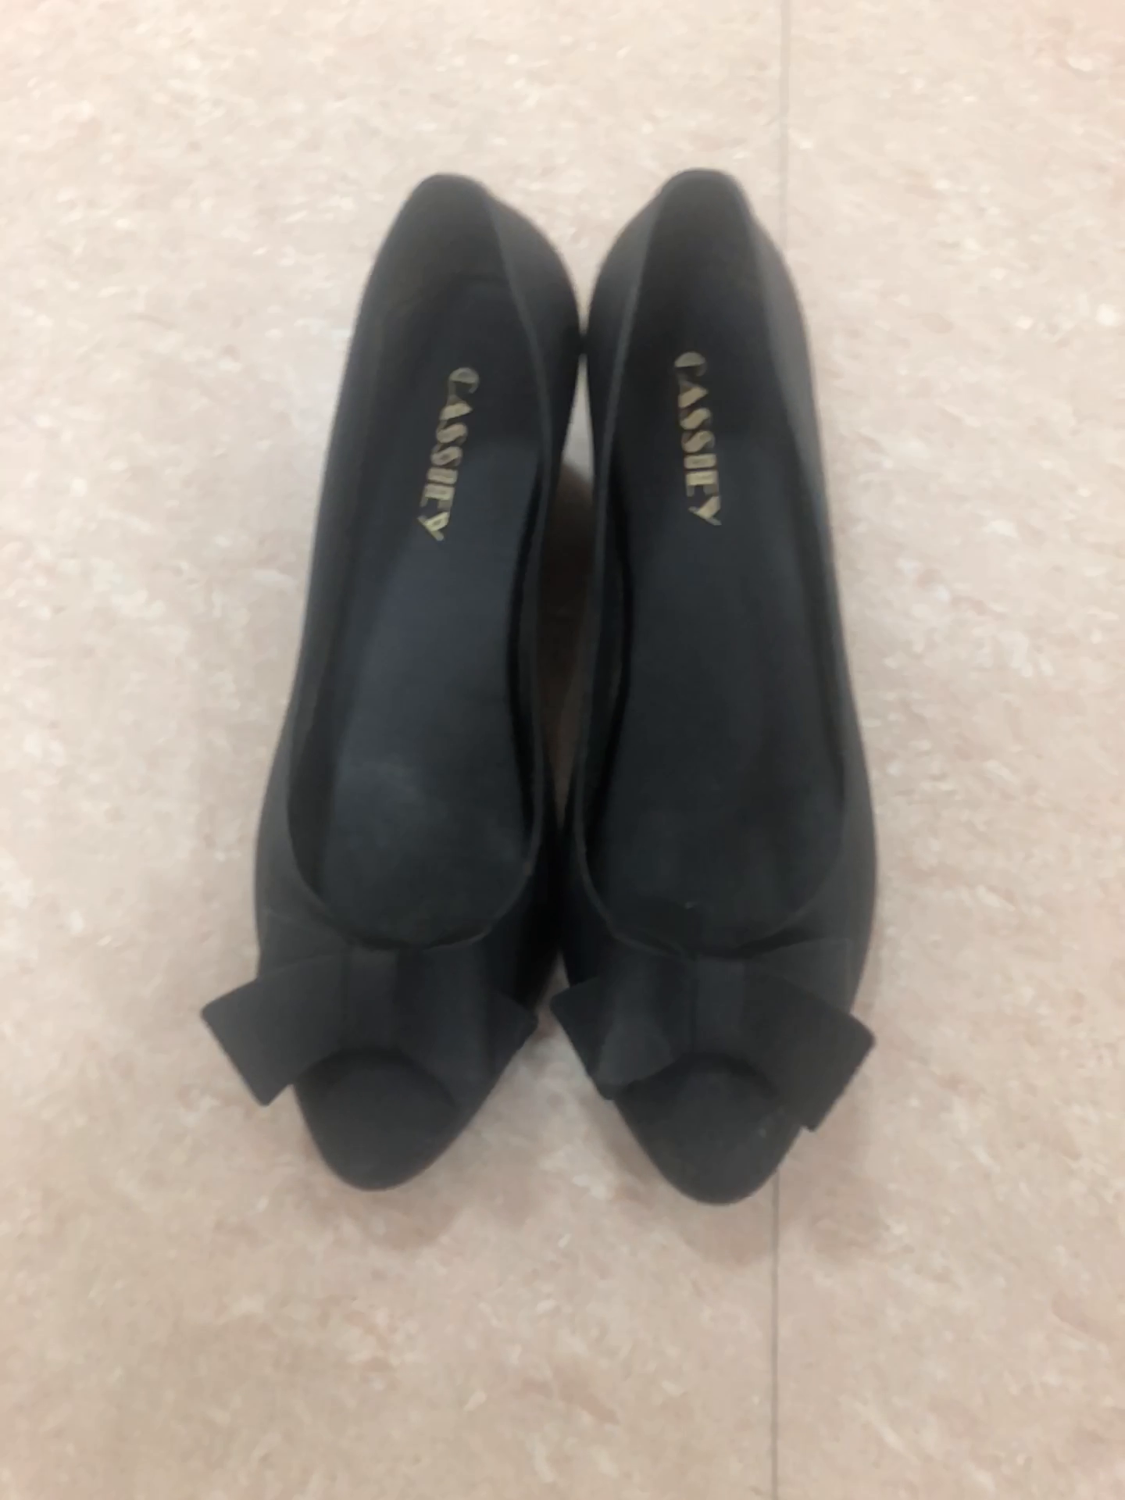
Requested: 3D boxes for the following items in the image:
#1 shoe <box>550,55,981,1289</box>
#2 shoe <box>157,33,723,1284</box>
[{"bbox_3d":[0.052,-0.028,0.344,0.090,0.090,0.310,2,76,4],"label":"shoe"},{"bbox_3d":[-0.019,-0.032,0.344,0.090,0.090,0.310,6,76,5],"label":"shoe"}]
